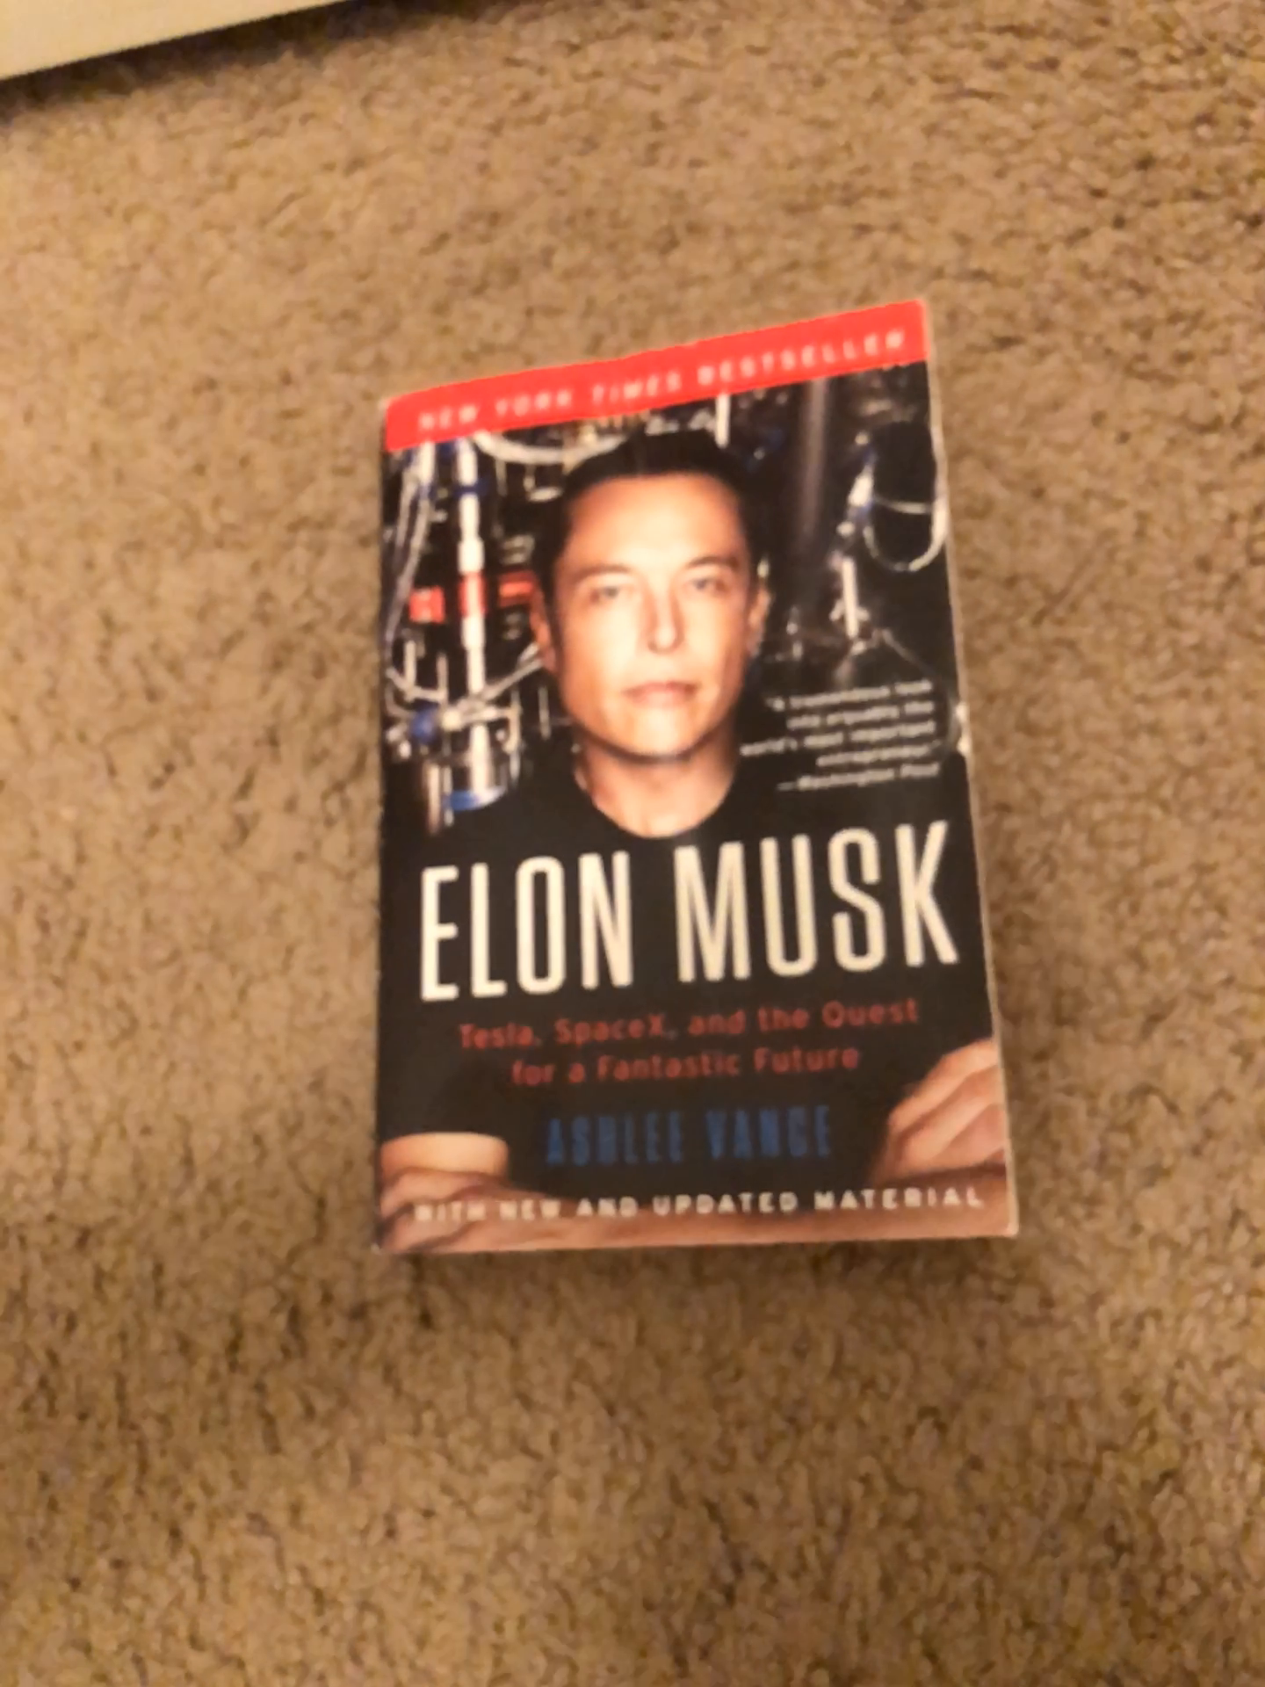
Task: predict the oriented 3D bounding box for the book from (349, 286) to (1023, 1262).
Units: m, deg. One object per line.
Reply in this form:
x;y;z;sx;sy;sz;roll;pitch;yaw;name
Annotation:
0.008;-0.013;0.321;0.136;0.033;0.202;-5;76;16;book
